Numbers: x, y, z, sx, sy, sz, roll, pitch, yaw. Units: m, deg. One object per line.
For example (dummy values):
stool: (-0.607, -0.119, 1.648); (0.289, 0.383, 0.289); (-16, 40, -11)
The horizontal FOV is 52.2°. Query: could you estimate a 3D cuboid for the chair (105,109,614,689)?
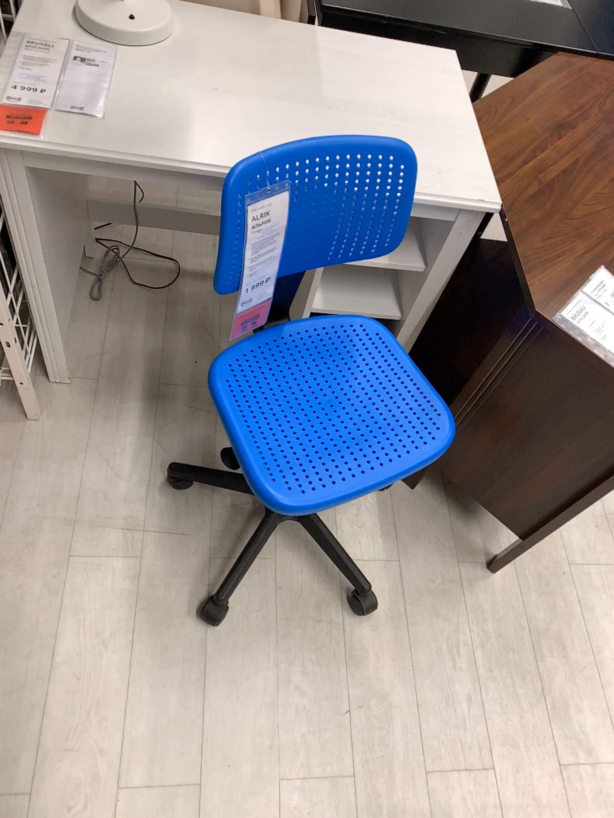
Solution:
chair: (0.037, 0.028, 1.211); (0.611, 0.857, 0.621); (-17, 63, -23)
